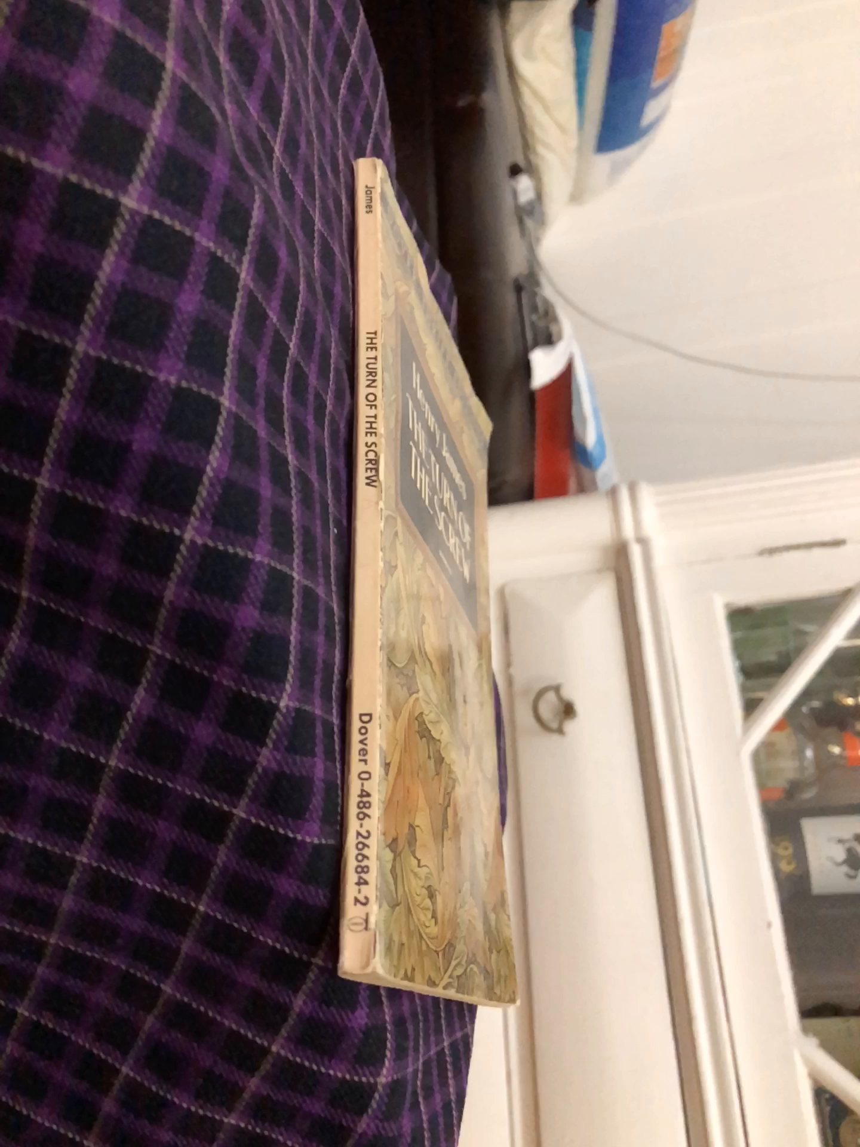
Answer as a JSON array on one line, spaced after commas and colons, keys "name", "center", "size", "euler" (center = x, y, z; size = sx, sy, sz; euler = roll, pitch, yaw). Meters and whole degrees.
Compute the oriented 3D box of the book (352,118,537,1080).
[{"name": "book", "center": [0.005, 0.011, 0.263], "size": [0.140, 0.010, 0.220], "euler": [60, 25, -61]}]
